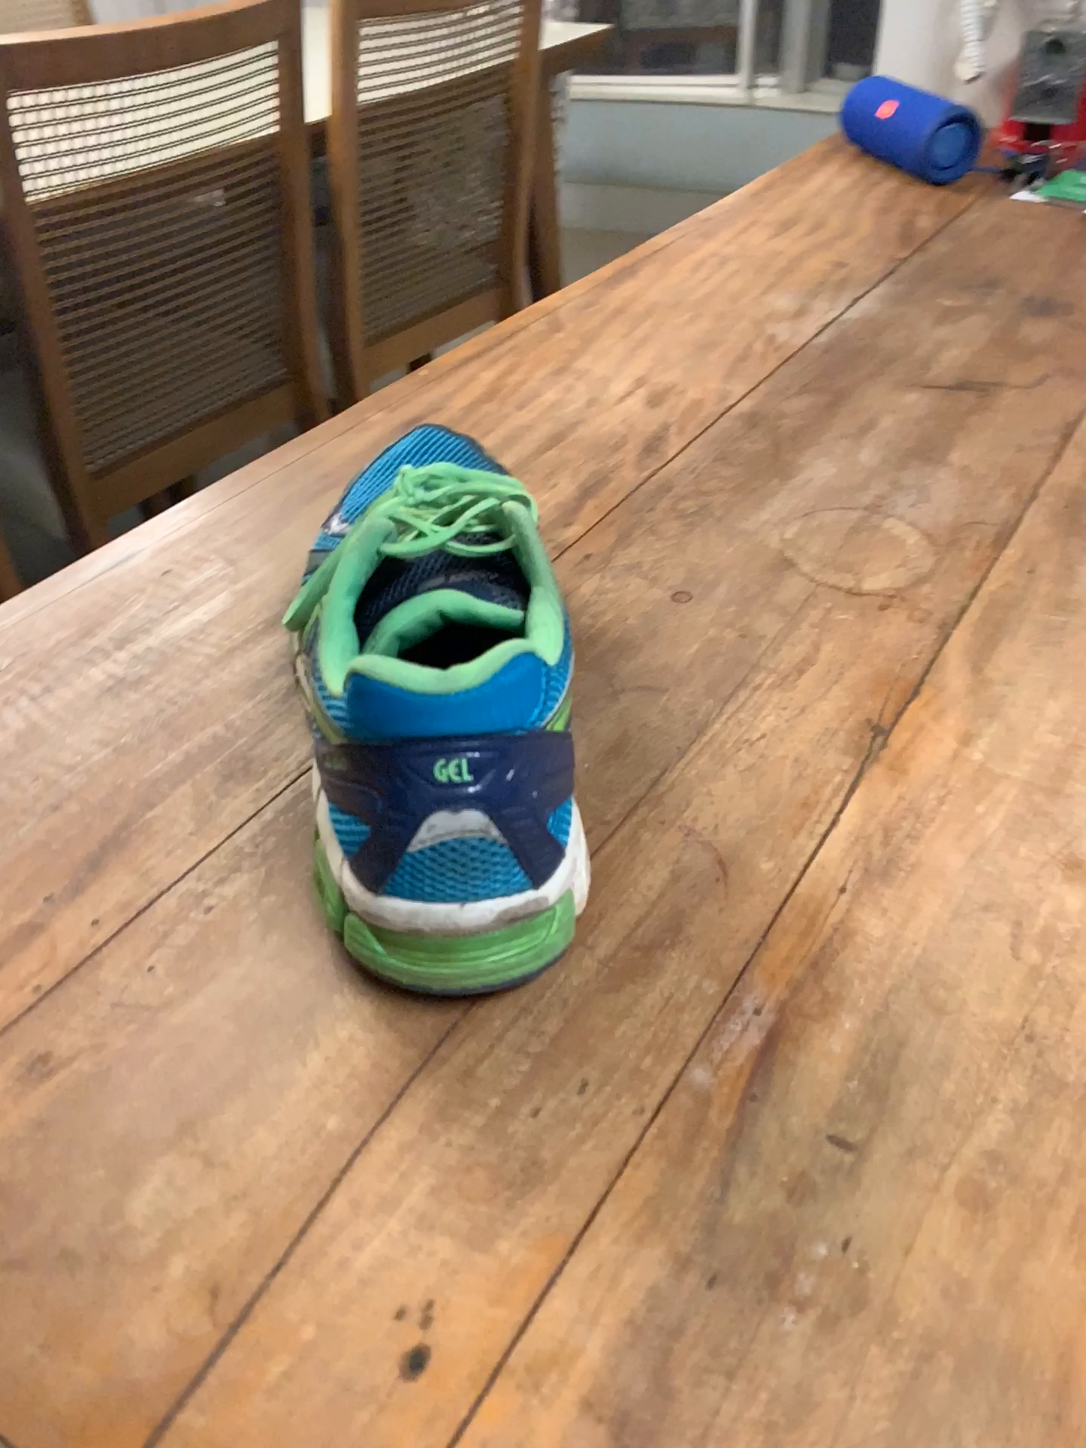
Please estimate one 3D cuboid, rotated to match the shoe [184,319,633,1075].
[{"bbox_3d":[-0.048,-0.038,0.425,0.110,0.119,0.302,-6,40,-4],"label":"shoe"}]
